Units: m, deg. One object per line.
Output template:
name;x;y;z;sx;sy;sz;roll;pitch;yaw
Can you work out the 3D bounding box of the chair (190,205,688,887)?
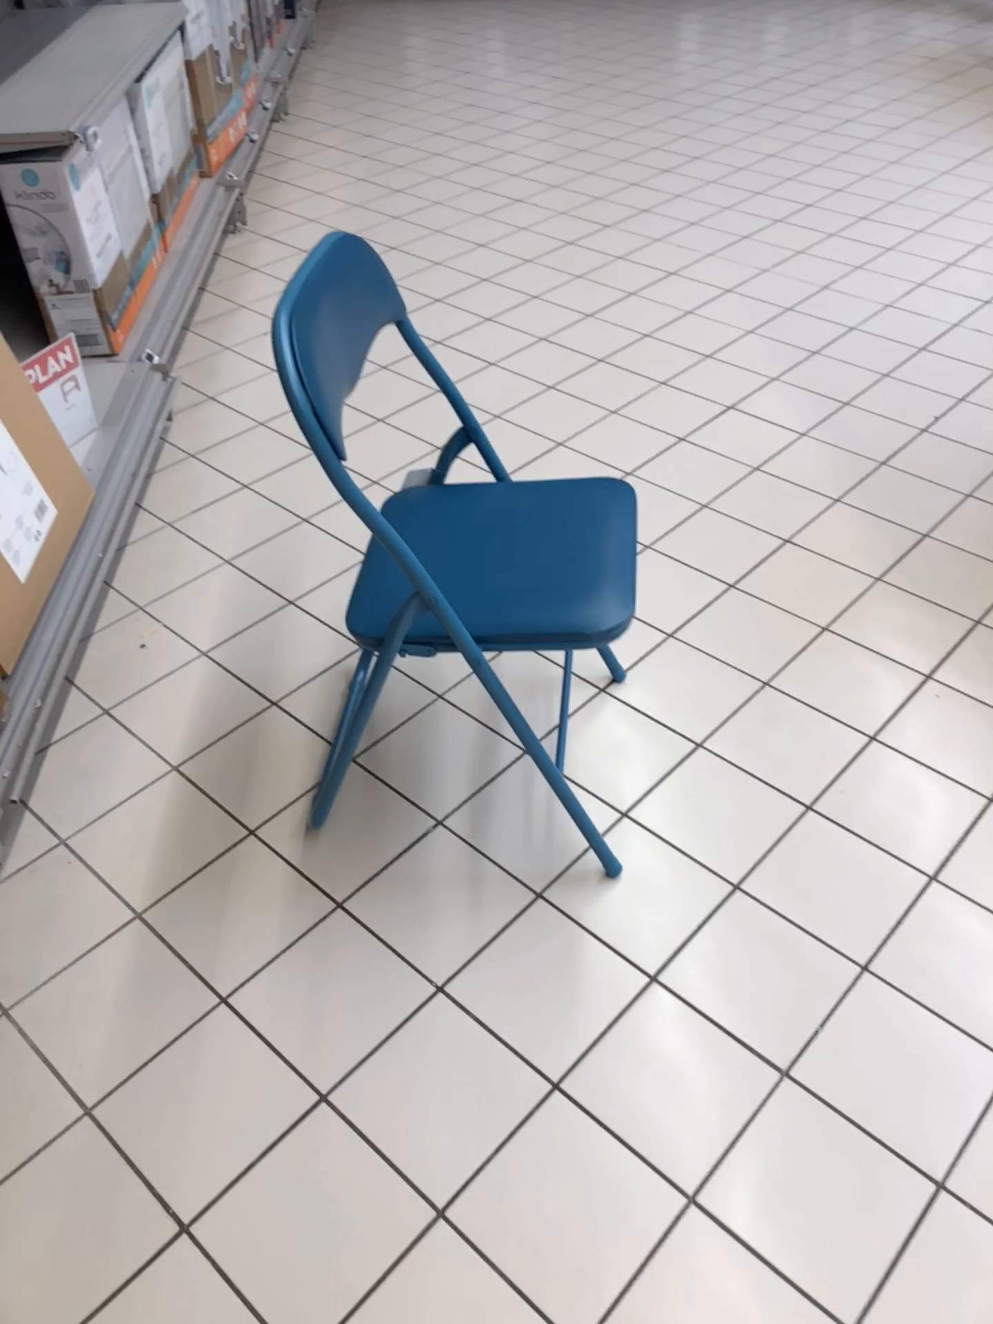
chair;-0.026;-0.153;1.512;0.500;0.765;0.504;4;40;6
